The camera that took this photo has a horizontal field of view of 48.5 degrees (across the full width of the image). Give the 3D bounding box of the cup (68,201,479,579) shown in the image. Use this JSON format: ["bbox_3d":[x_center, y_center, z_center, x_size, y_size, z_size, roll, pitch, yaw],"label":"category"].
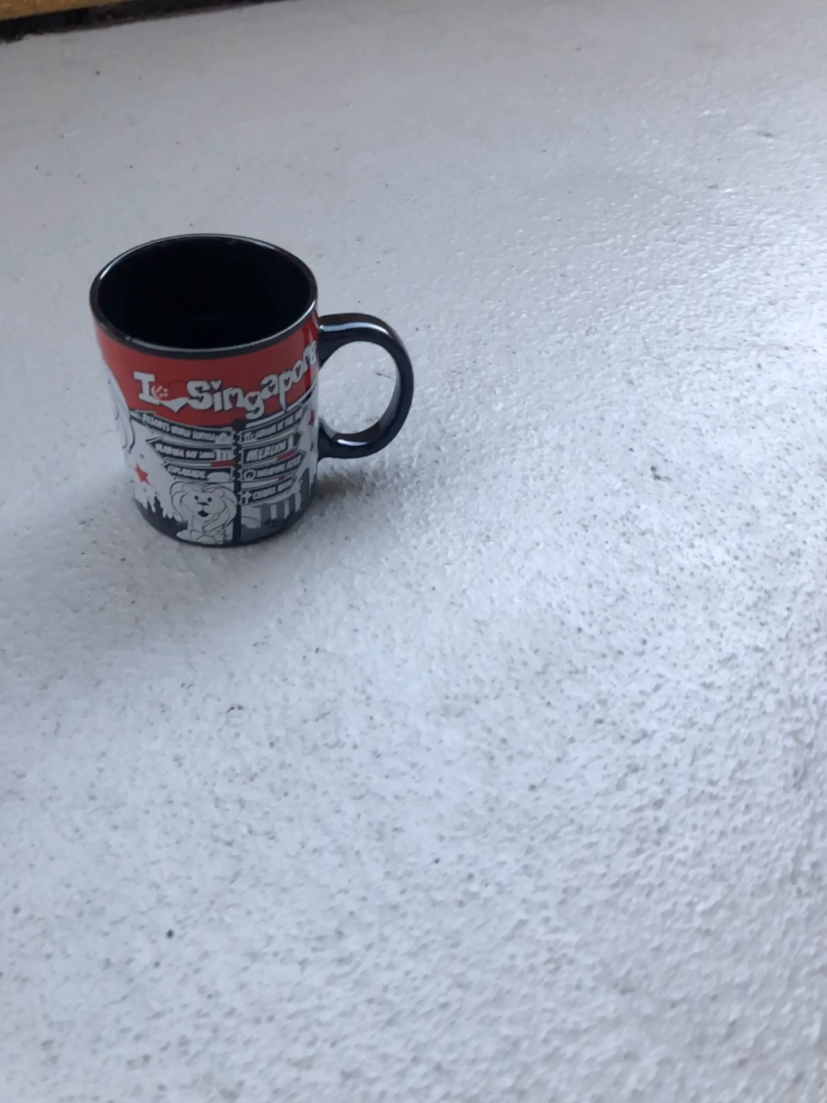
[{"bbox_3d":[-0.055,-0.063,0.357,0.130,0.110,0.080,-7,48,-12],"label":"cup"}]
